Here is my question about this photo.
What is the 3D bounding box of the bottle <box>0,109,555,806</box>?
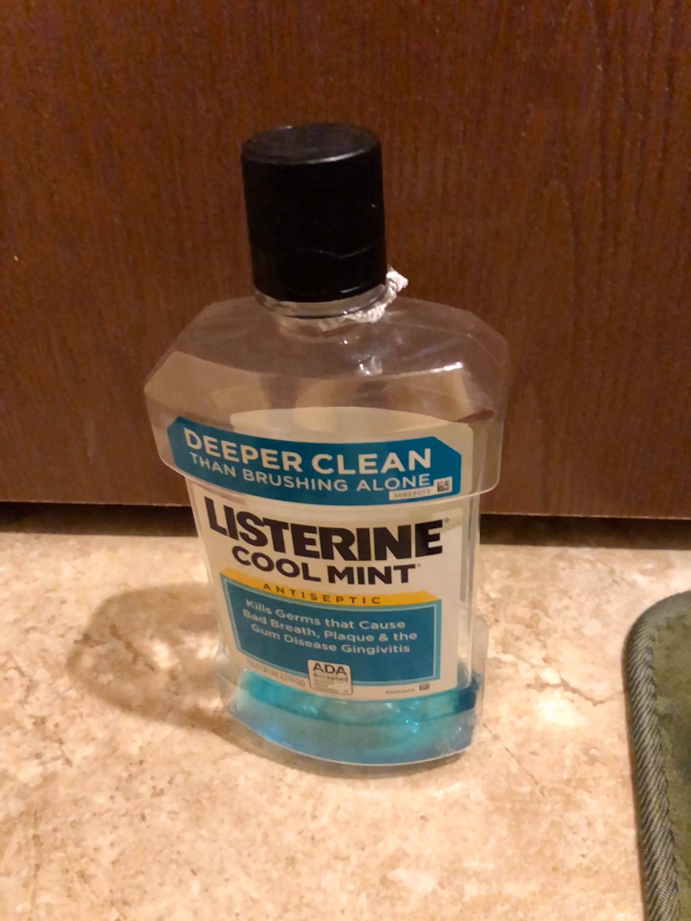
[{"bbox_3d":[-0.006,0.008,0.266,0.130,0.219,0.090,5,38,12],"label":"bottle"}]
